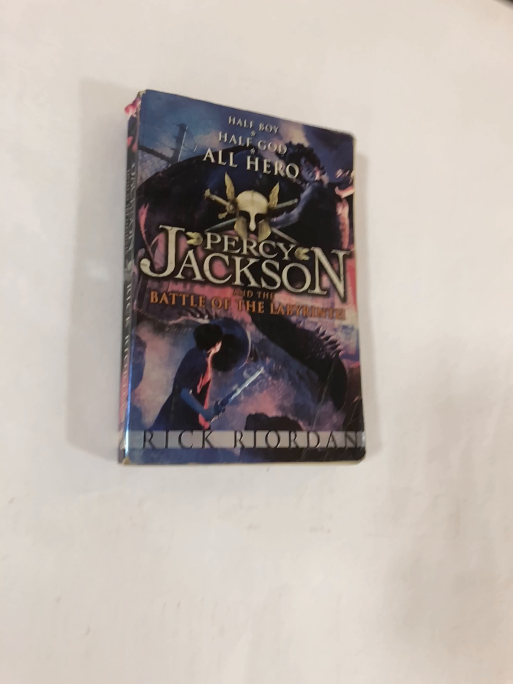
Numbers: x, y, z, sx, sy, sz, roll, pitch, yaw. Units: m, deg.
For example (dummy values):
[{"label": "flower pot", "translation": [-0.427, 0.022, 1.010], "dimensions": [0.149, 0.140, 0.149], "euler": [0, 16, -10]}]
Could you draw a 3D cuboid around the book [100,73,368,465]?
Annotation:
[{"label": "book", "translation": [-0.011, -0.033, 0.308], "dimensions": [0.130, 0.040, 0.190], "euler": [4, 79, -21]}]
